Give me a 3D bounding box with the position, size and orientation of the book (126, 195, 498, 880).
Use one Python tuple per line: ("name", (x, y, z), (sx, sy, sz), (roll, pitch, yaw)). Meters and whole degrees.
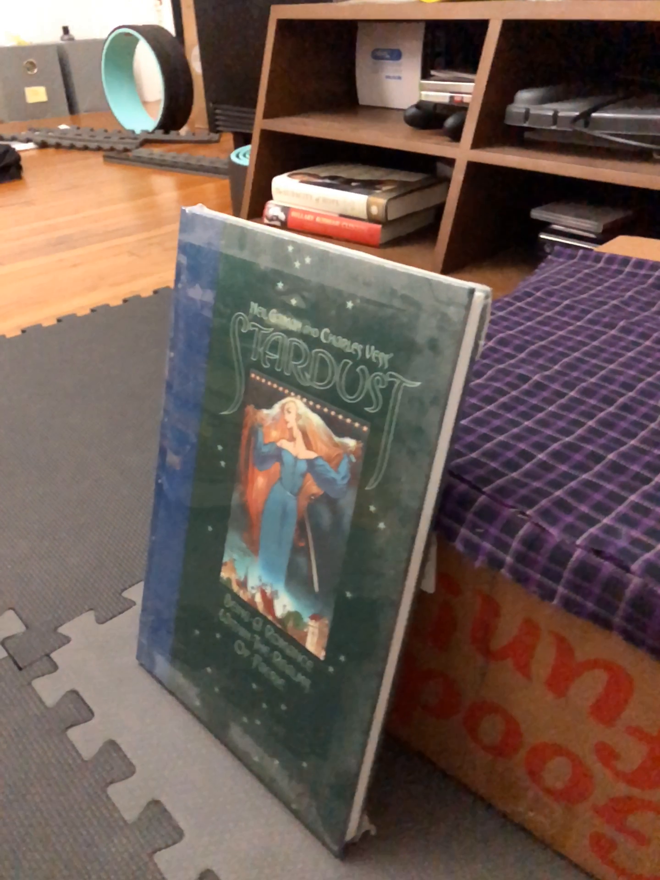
("book", (-0.038, 0.048, 0.410), (0.211, 0.329, 0.020), (25, 24, 39))
